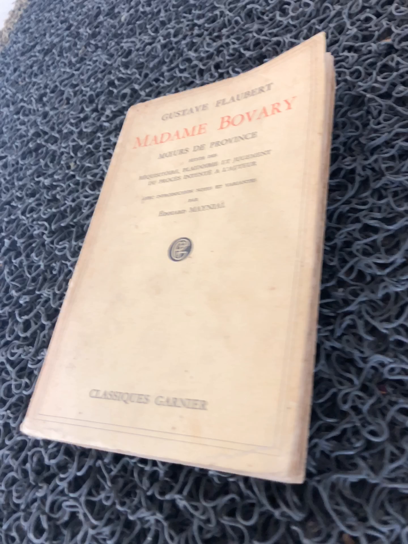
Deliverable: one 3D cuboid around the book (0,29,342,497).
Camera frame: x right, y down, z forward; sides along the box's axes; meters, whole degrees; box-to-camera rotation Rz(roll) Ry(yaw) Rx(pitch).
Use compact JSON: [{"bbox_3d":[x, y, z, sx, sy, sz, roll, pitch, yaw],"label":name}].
[{"bbox_3d":[-0.011,-0.014,0.200,0.124,0.035,0.180,-3,60,29],"label":"book"}]
